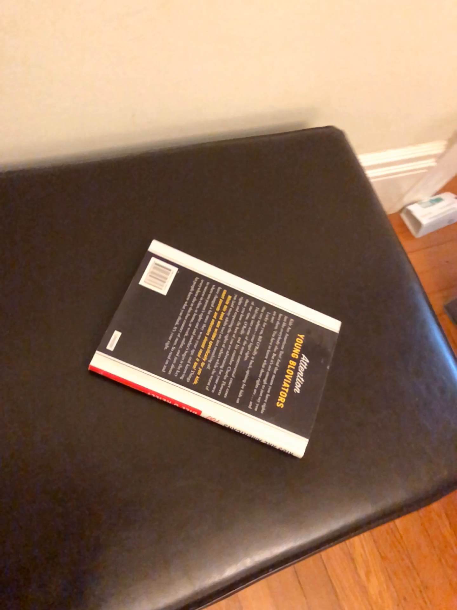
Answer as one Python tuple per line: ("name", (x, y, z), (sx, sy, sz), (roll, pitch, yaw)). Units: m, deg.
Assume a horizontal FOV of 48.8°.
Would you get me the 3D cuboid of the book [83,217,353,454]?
("book", (-0.001, 0.026, 0.502), (0.230, 0.020, 0.160), (24, 64, -5))
